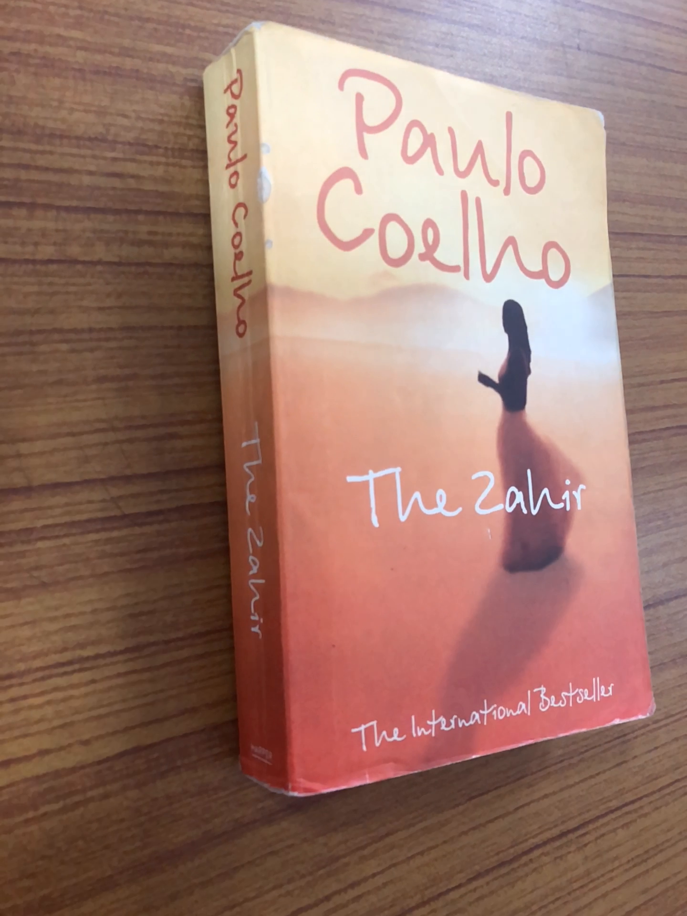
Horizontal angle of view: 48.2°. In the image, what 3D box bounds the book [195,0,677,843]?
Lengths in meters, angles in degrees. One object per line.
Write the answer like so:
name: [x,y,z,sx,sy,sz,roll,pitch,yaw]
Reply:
book: [0.026,-0.011,0.205,0.120,0.040,0.180,2,82,-30]
